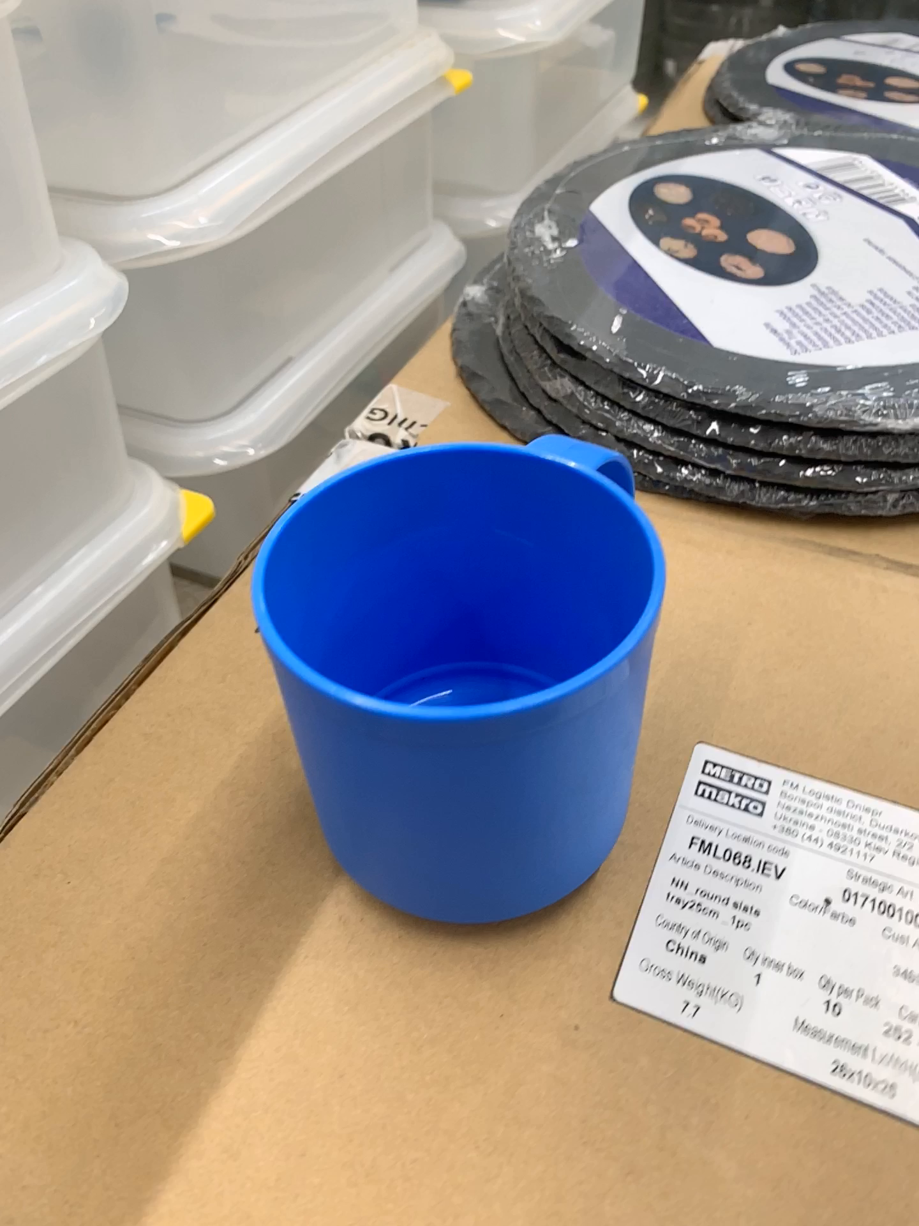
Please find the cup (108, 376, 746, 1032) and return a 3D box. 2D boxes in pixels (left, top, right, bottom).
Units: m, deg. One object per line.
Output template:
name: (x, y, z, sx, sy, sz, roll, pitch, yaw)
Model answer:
cup: (0.001, 0.012, 0.220, 0.089, 0.071, 0.110, 19, 49, 22)
